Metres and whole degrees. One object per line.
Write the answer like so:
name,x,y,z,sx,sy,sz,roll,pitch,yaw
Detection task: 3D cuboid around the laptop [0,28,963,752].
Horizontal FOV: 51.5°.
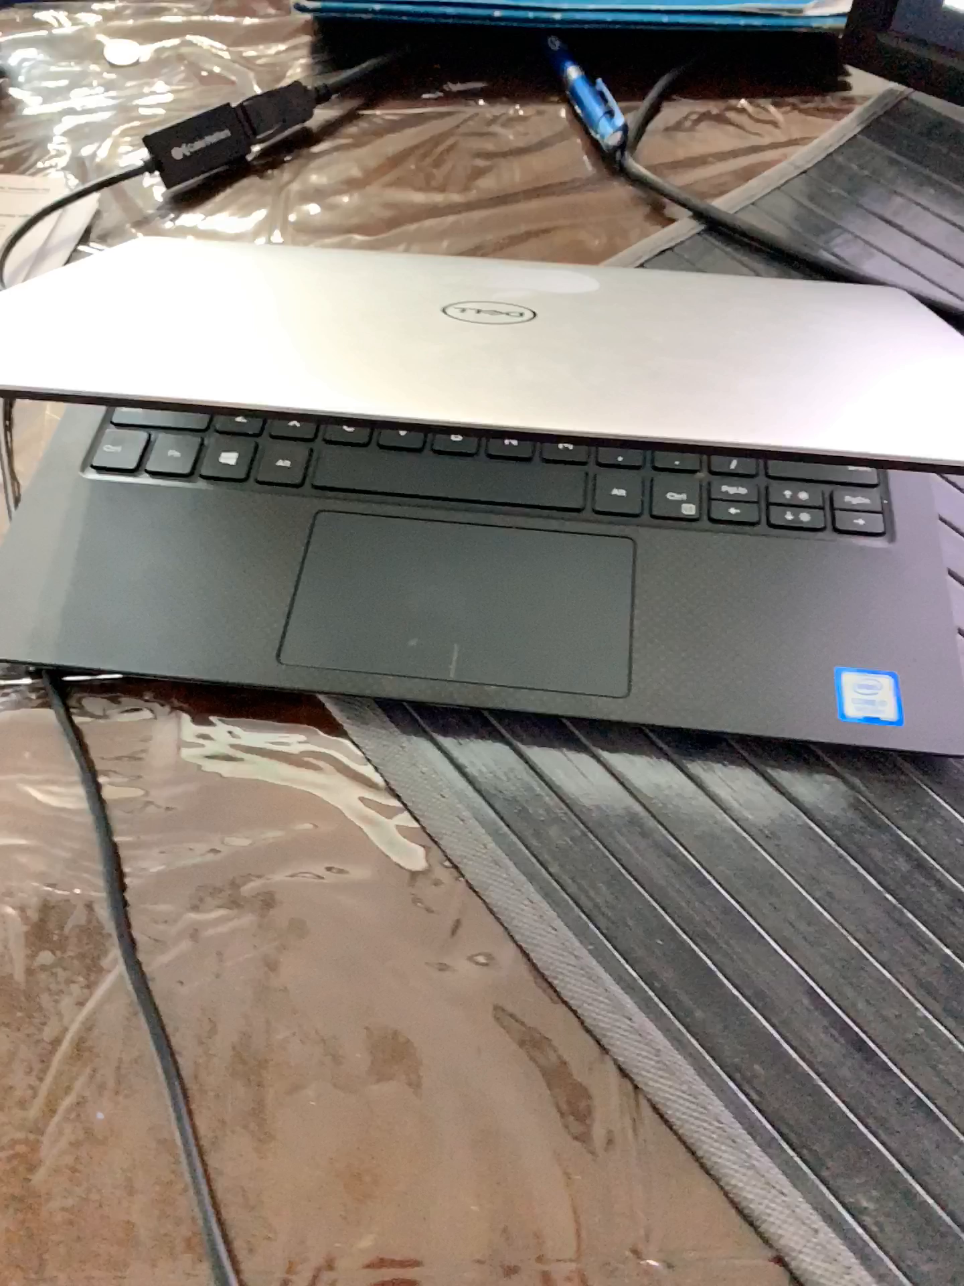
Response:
laptop,0.001,-0.083,0.295,0.289,0.082,0.183,5,58,3
